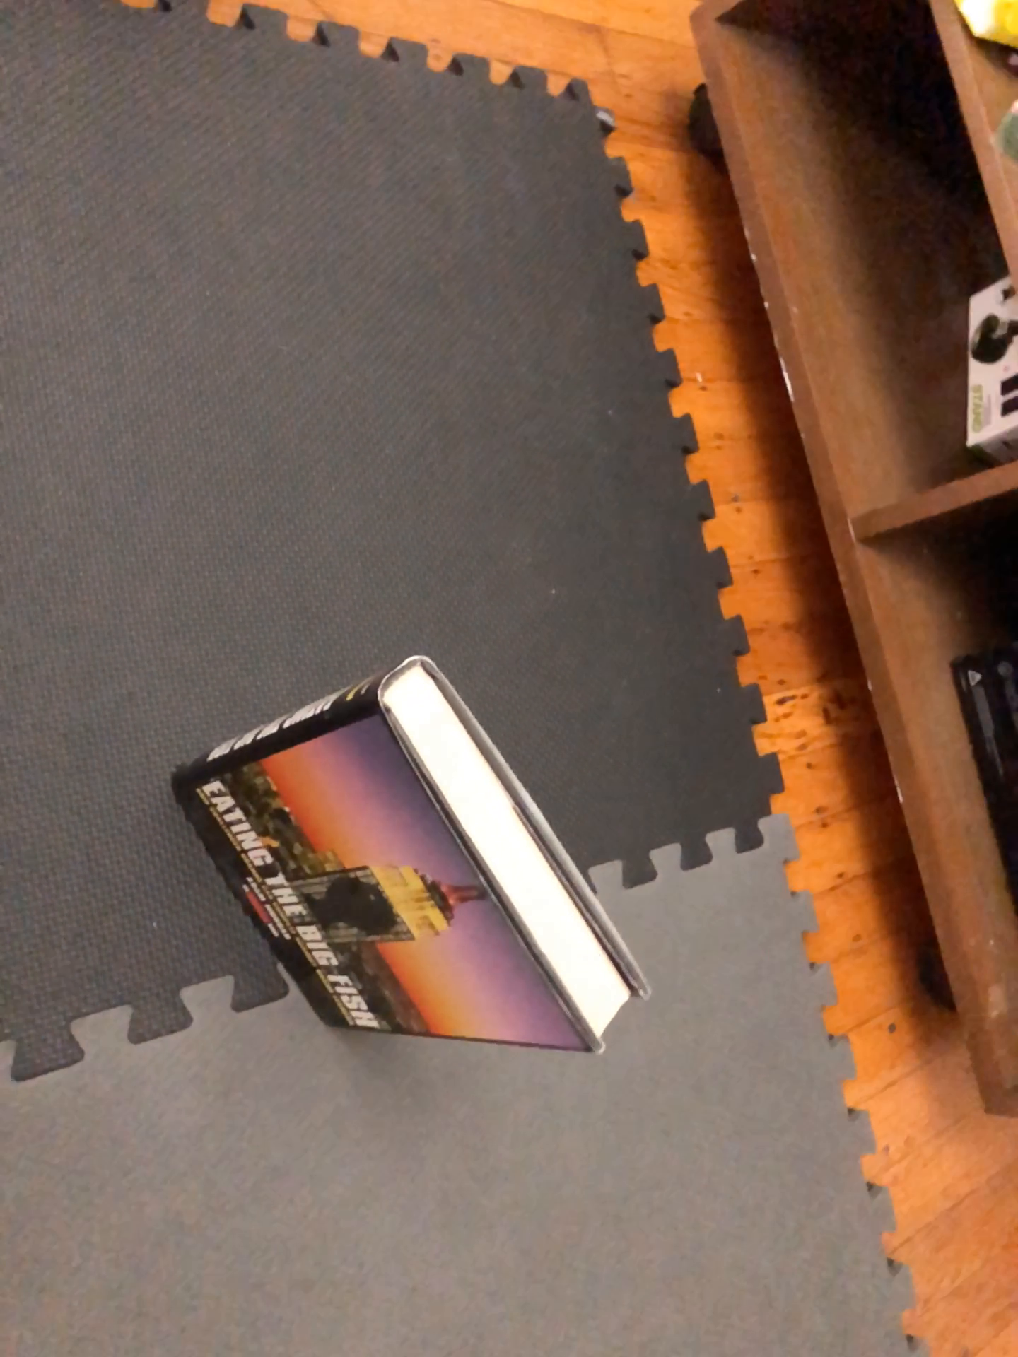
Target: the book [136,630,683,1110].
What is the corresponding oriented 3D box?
[{"bbox_3d":[-0.066,0.096,0.517,0.050,0.259,0.180,-38,100,-33],"label":"book"}]
